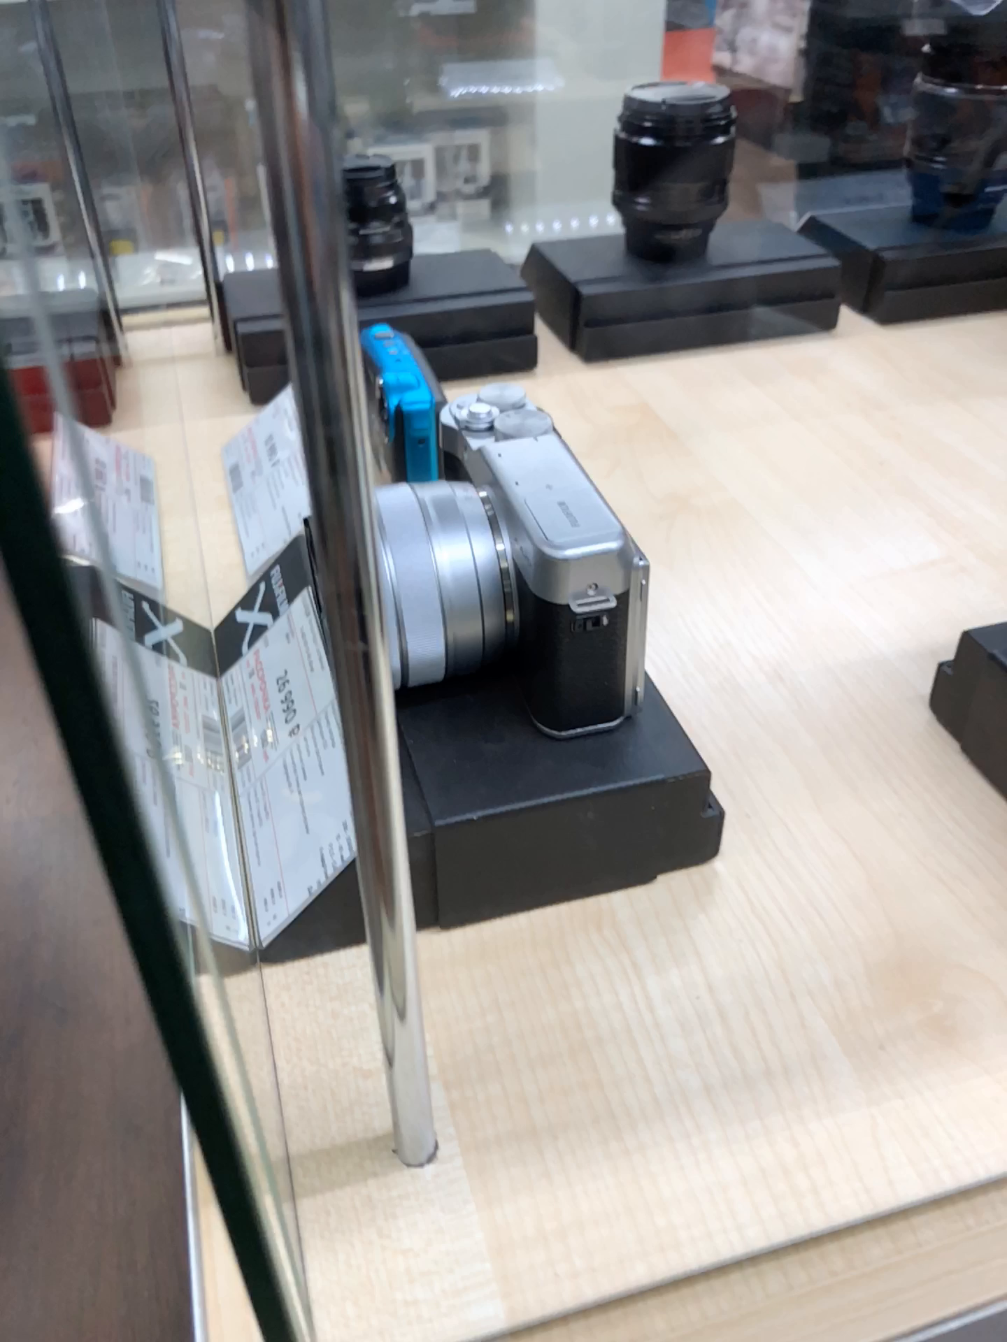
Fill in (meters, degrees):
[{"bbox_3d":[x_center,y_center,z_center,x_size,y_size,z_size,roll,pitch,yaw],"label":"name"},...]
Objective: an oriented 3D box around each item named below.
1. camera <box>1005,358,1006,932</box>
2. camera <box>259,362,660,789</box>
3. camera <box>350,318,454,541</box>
[{"bbox_3d":[0.277,-0.020,0.325,0.187,0.074,0.130,-11,38,-14],"label":"camera"},{"bbox_3d":[-0.019,-0.037,0.354,0.093,0.070,0.120,-10,38,-13],"label":"camera"},{"bbox_3d":[-0.049,-0.117,0.532,0.025,0.064,0.106,-10,38,-12],"label":"camera"}]
